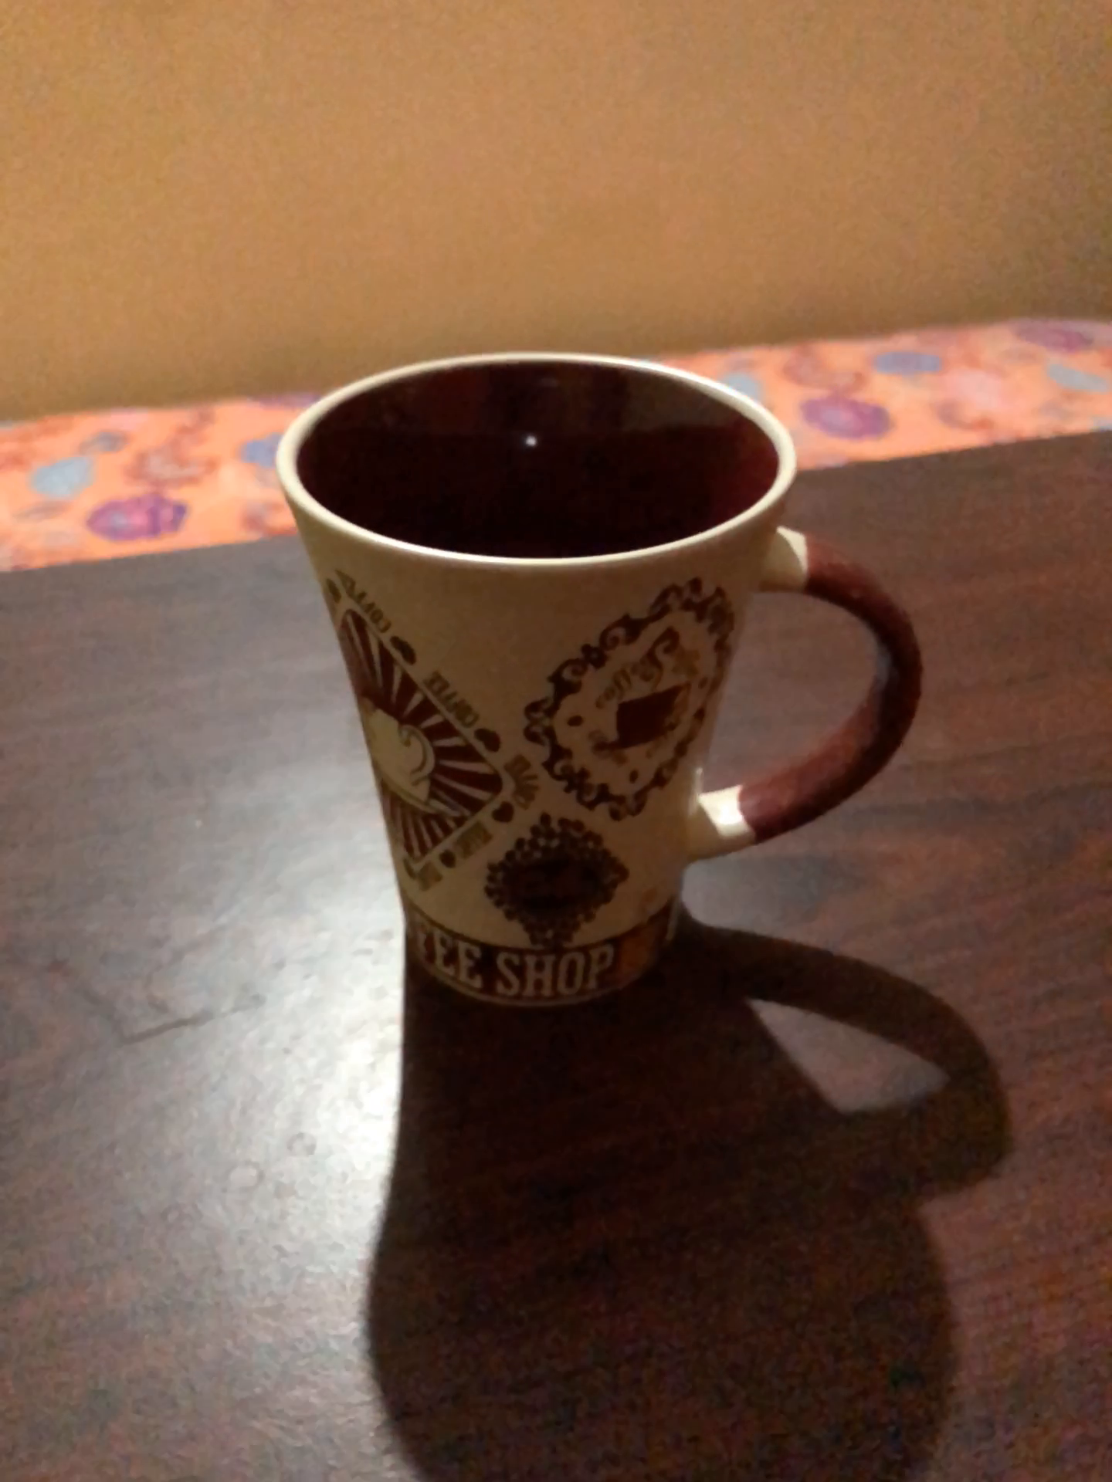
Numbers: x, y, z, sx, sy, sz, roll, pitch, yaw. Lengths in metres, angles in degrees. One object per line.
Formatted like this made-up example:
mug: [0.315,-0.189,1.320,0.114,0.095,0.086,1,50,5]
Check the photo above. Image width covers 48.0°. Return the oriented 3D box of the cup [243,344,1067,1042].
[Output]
cup: [0.017,-0.014,0.252,0.120,0.099,0.101,1,35,2]
